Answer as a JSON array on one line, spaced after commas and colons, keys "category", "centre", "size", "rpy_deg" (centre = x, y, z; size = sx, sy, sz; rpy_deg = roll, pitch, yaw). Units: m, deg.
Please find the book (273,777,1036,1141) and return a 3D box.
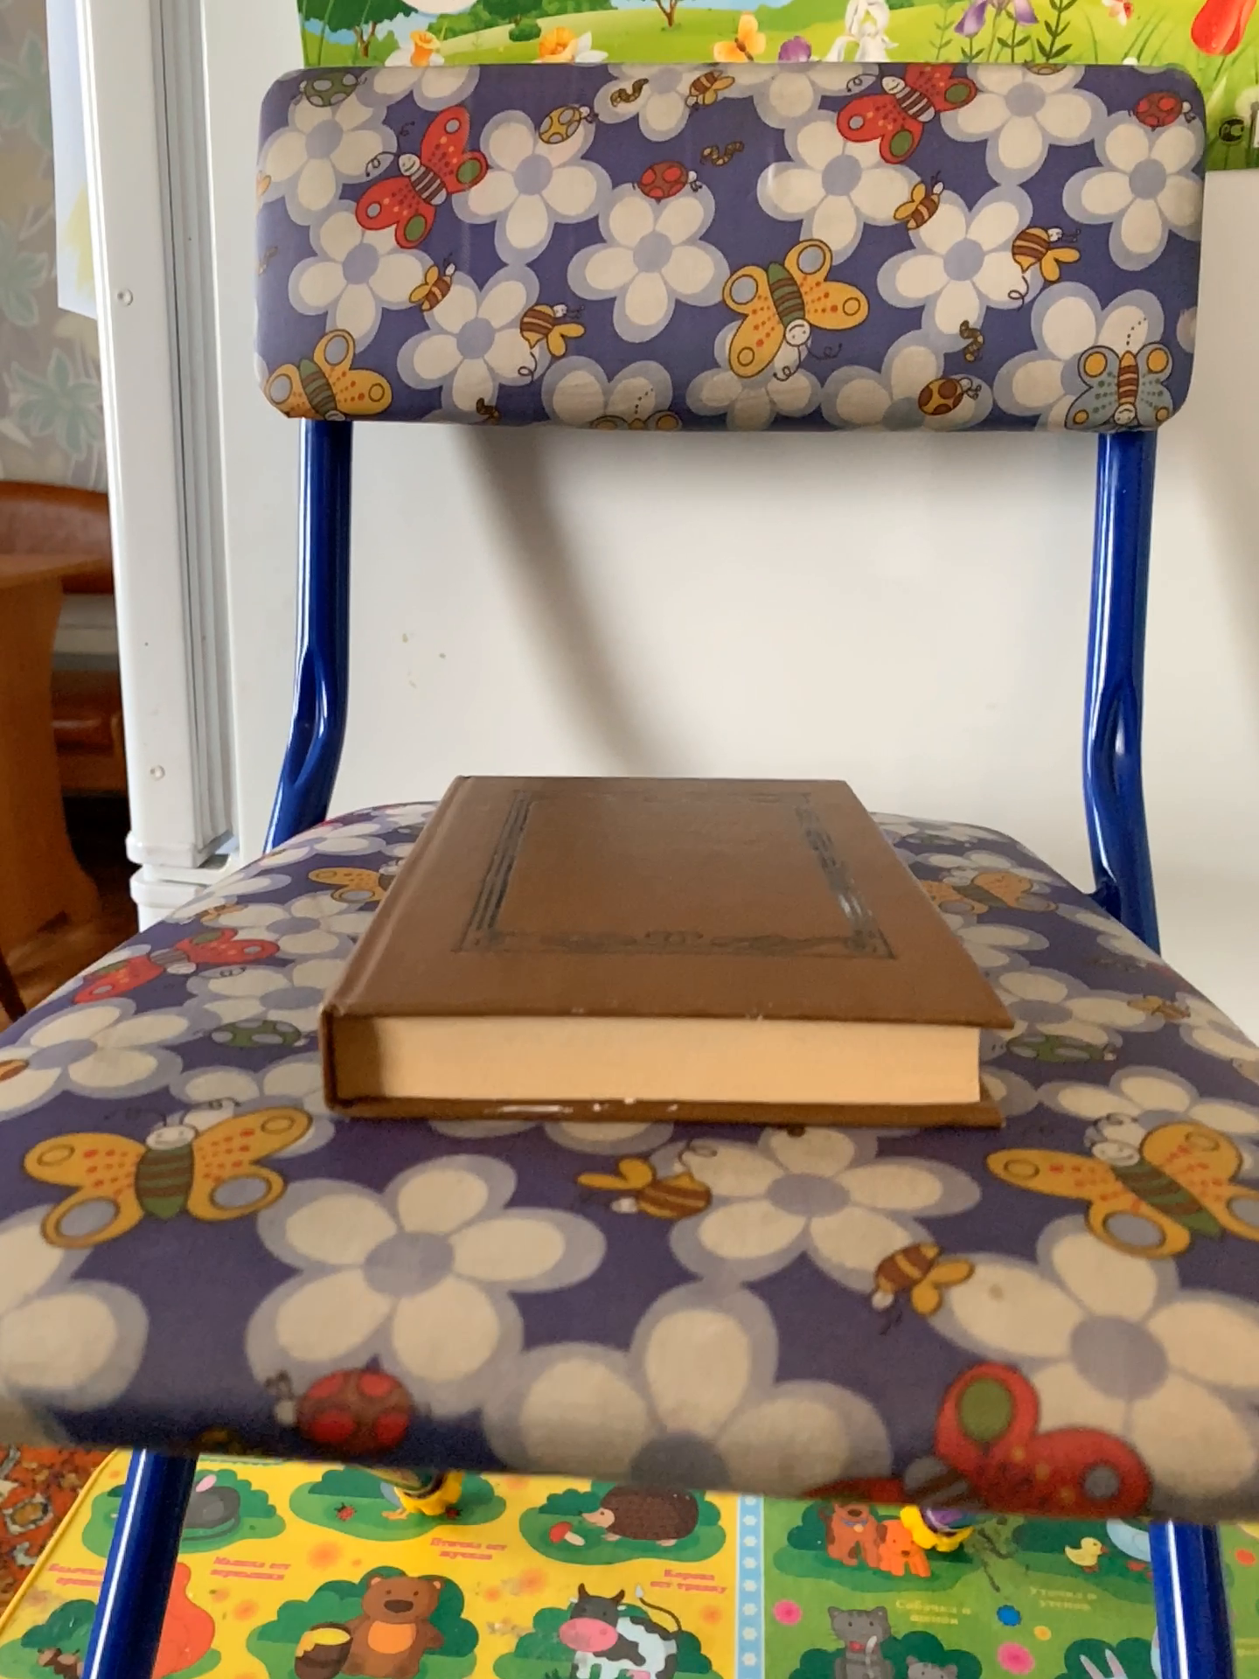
[{"category": "book", "centre": [0.003, 0.016, 0.295], "size": [0.124, 0.020, 0.171], "rpy_deg": [1, 16, -1]}]
